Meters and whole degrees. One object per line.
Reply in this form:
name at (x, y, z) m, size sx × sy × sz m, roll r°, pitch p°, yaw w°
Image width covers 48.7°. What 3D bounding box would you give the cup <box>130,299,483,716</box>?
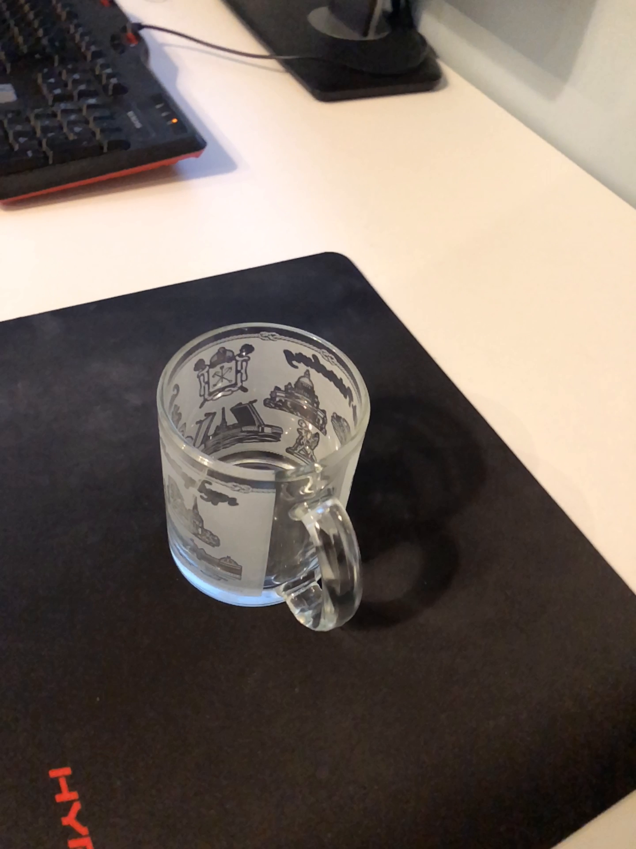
cup at (-0.014, 0.033, 0.301) m, size 0.090 × 0.106 × 0.117 m, roll -17°, pitch 53°, yaw -21°
